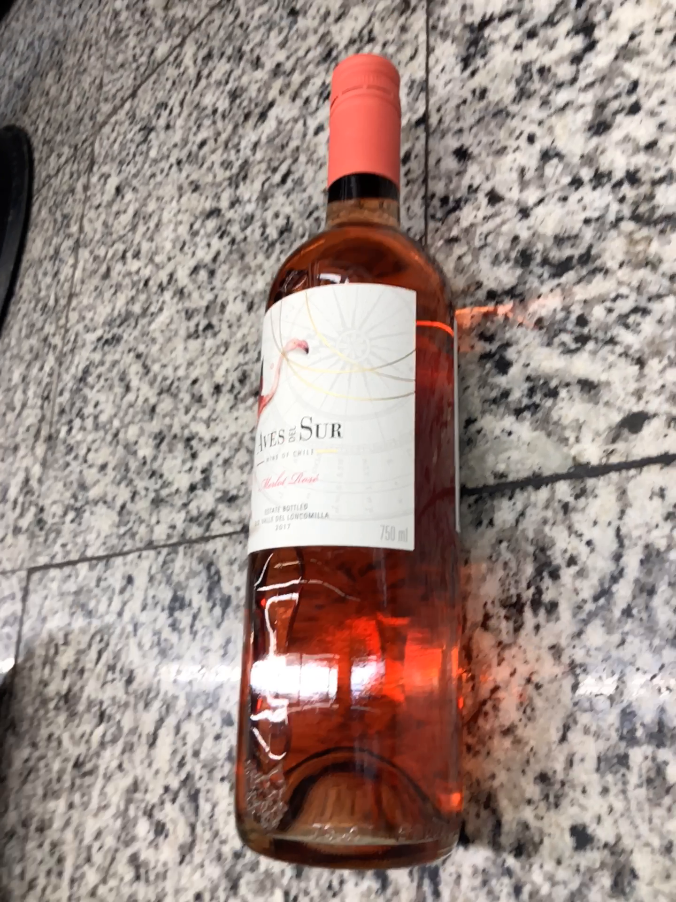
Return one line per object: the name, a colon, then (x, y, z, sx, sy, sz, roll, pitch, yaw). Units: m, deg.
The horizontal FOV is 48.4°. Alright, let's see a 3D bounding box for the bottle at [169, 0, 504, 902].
bottle: (0.003, -0.023, 0.304, 0.090, 0.070, 0.340, -17, 64, 45)
